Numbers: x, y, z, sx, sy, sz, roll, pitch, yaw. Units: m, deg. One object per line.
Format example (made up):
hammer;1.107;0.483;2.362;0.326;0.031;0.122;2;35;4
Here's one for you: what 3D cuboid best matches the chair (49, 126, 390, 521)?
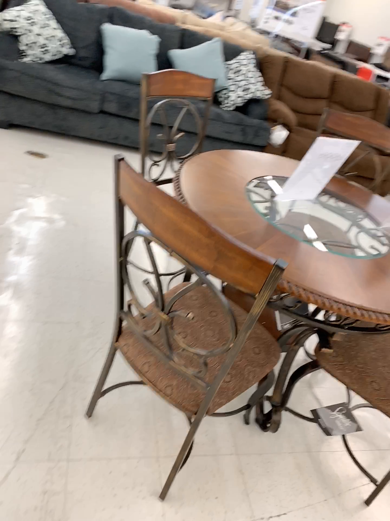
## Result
chair;0.002;0.183;1.206;0.520;0.975;0.583;38;38;26
